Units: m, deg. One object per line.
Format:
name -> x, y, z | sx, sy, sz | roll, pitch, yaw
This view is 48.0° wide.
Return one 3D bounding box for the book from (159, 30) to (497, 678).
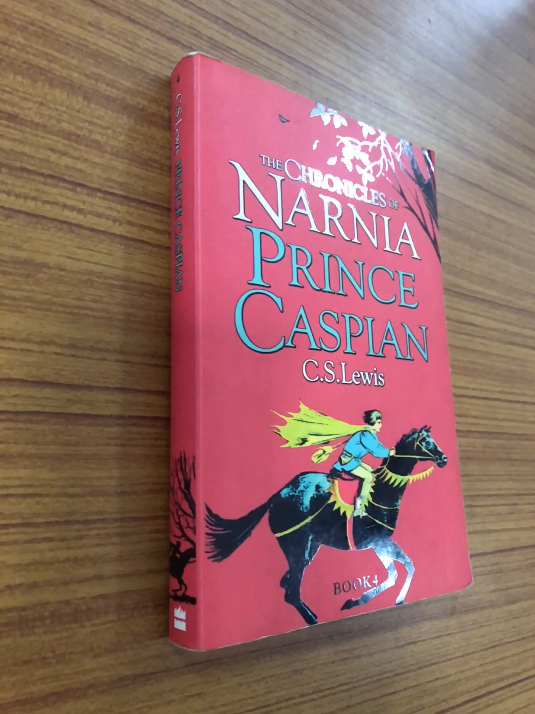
book -> 0.026, -0.002, 0.224 | 0.131, 0.030, 0.190 | 6, 78, -36
